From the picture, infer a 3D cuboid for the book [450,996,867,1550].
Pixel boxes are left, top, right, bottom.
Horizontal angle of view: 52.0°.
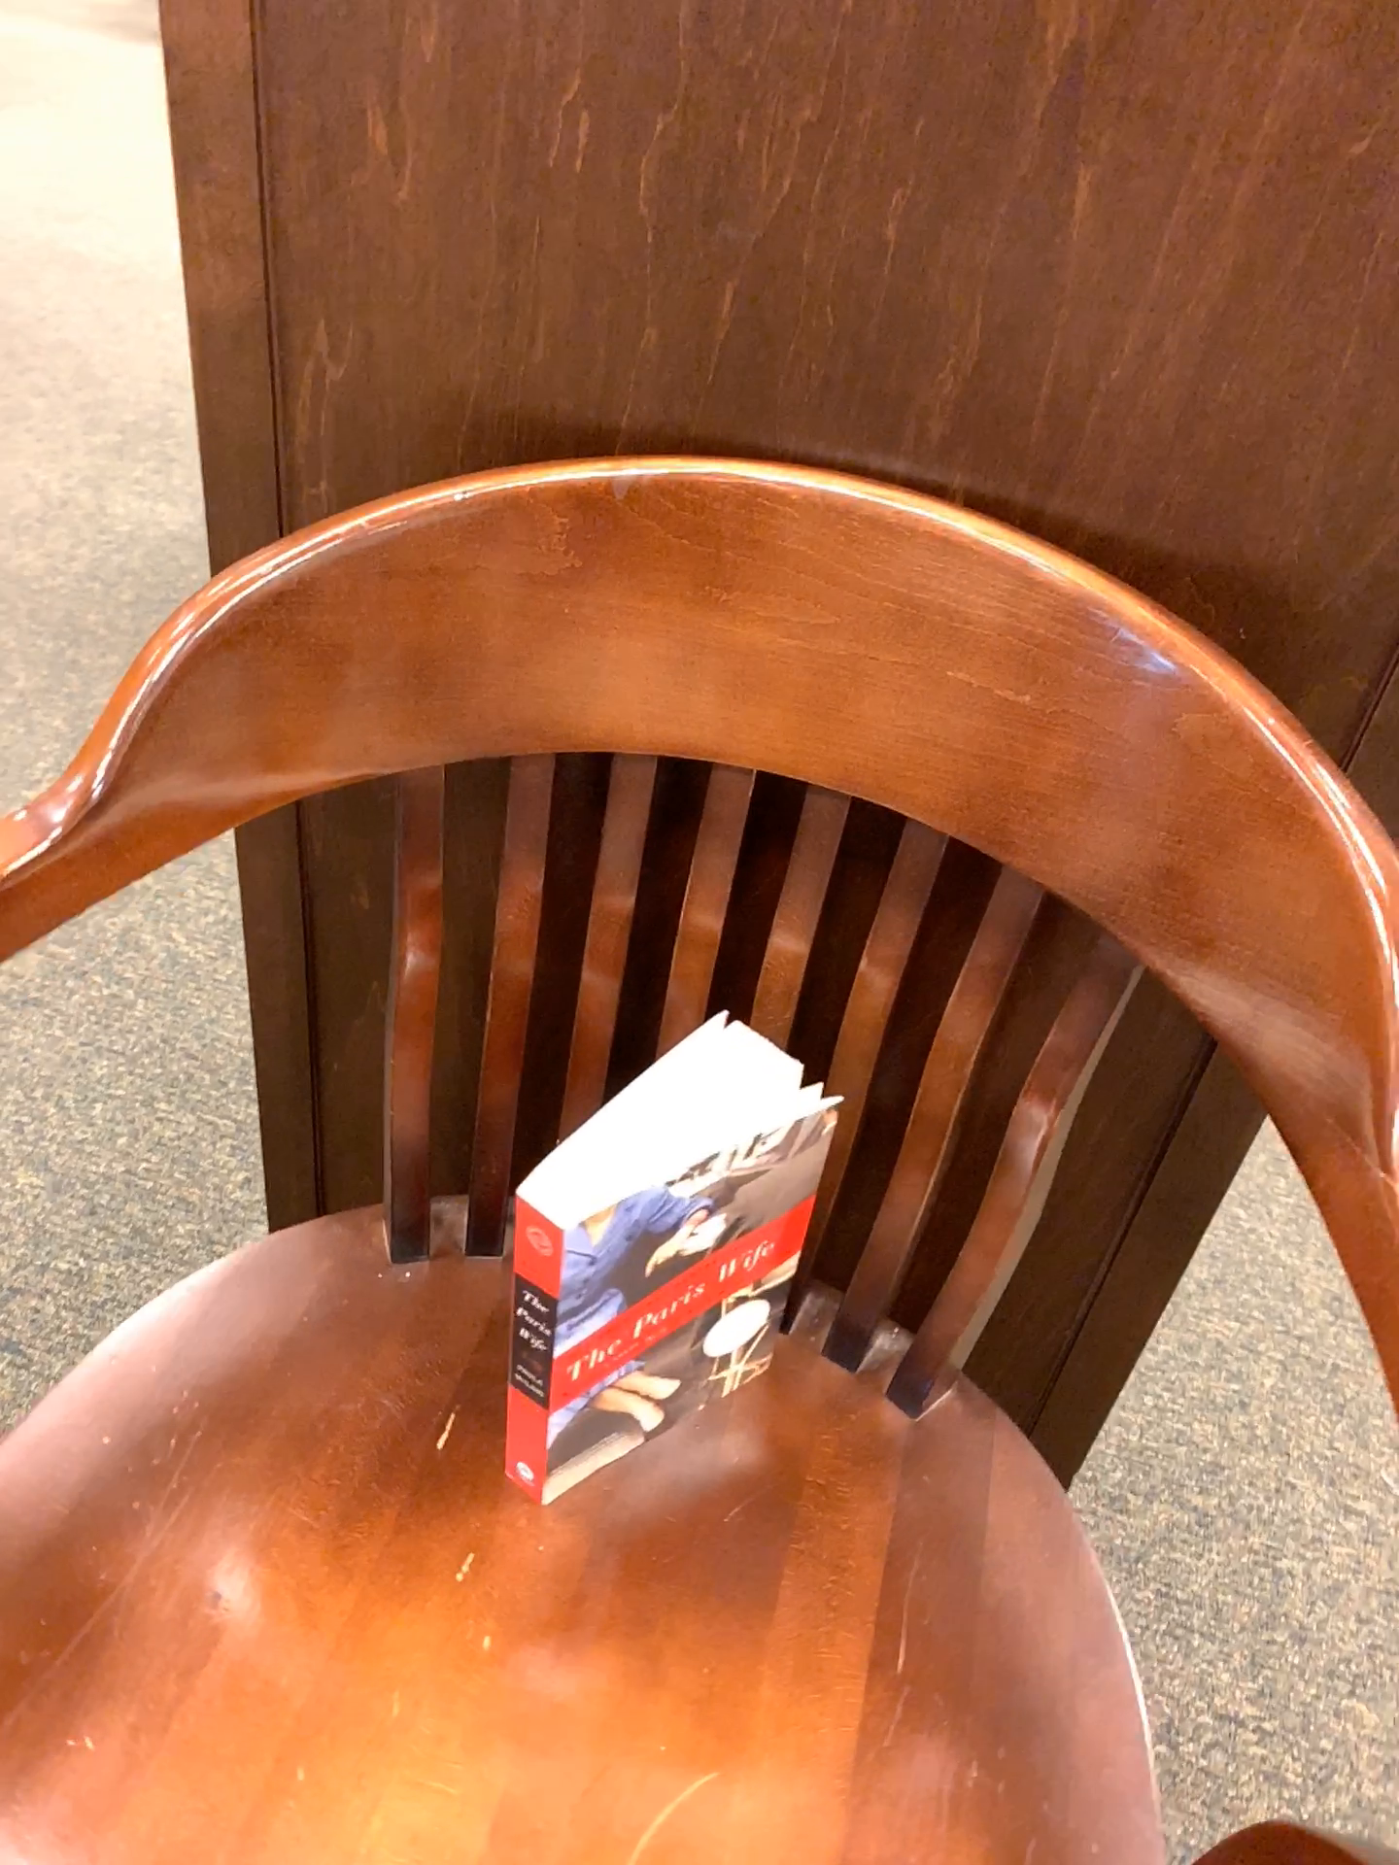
[{"bbox_3d":[-0.023,0.150,0.629,0.150,0.199,0.071,-26,51,-36],"label":"book"}]
